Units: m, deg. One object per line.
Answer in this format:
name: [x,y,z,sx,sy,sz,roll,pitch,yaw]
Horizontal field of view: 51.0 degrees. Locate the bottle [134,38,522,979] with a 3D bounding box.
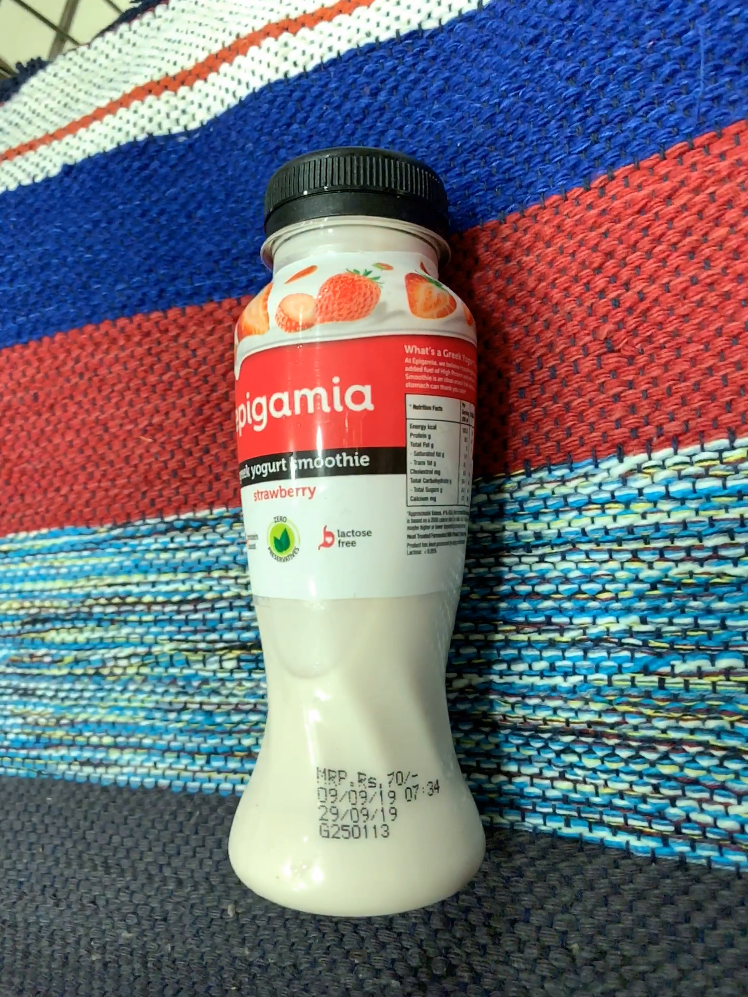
bottle: [-0.006,0.000,0.169,0.060,0.050,0.160,-3,80,30]
